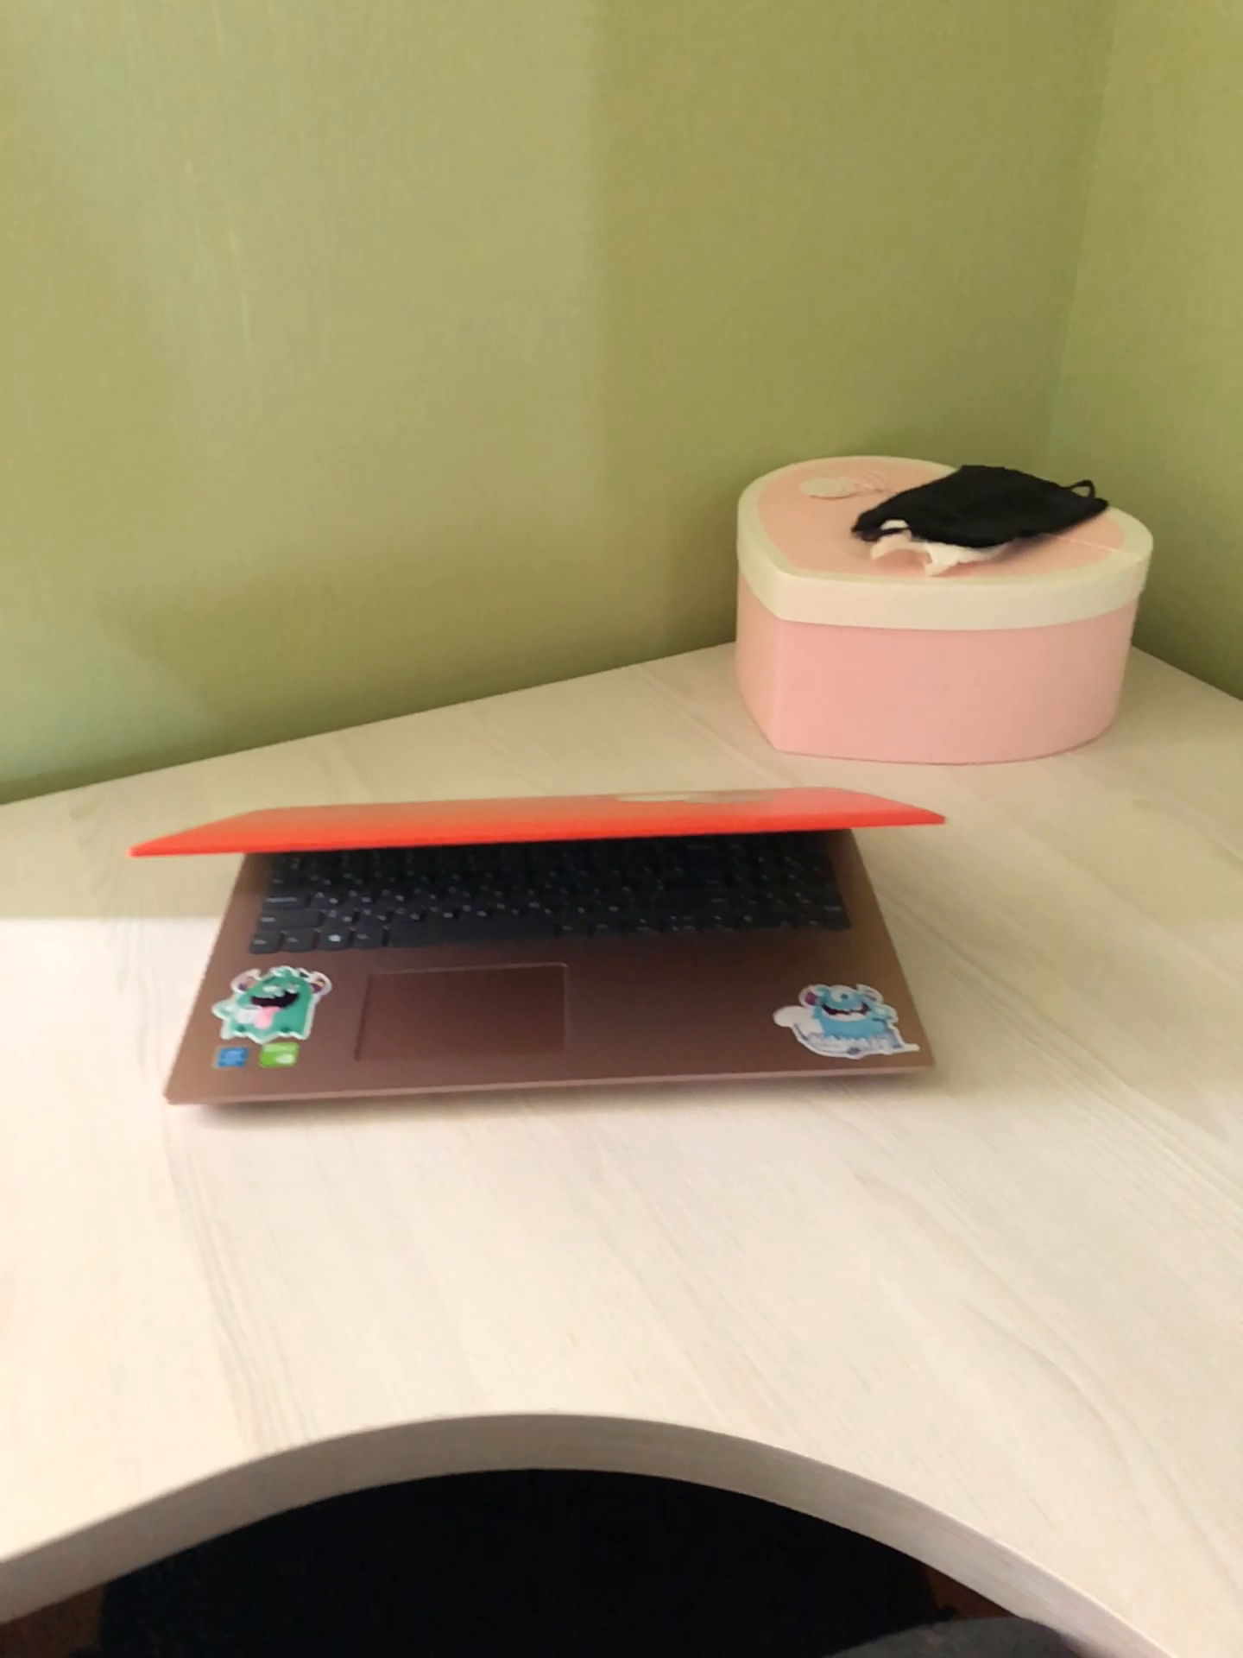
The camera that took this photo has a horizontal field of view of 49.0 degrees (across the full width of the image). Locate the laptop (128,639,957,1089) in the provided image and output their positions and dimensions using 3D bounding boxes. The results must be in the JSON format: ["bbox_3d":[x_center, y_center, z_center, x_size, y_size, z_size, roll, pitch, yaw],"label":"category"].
[{"bbox_3d":[-0.039,0.007,0.730,0.366,0.112,0.233,-2,33,-2],"label":"laptop"}]
